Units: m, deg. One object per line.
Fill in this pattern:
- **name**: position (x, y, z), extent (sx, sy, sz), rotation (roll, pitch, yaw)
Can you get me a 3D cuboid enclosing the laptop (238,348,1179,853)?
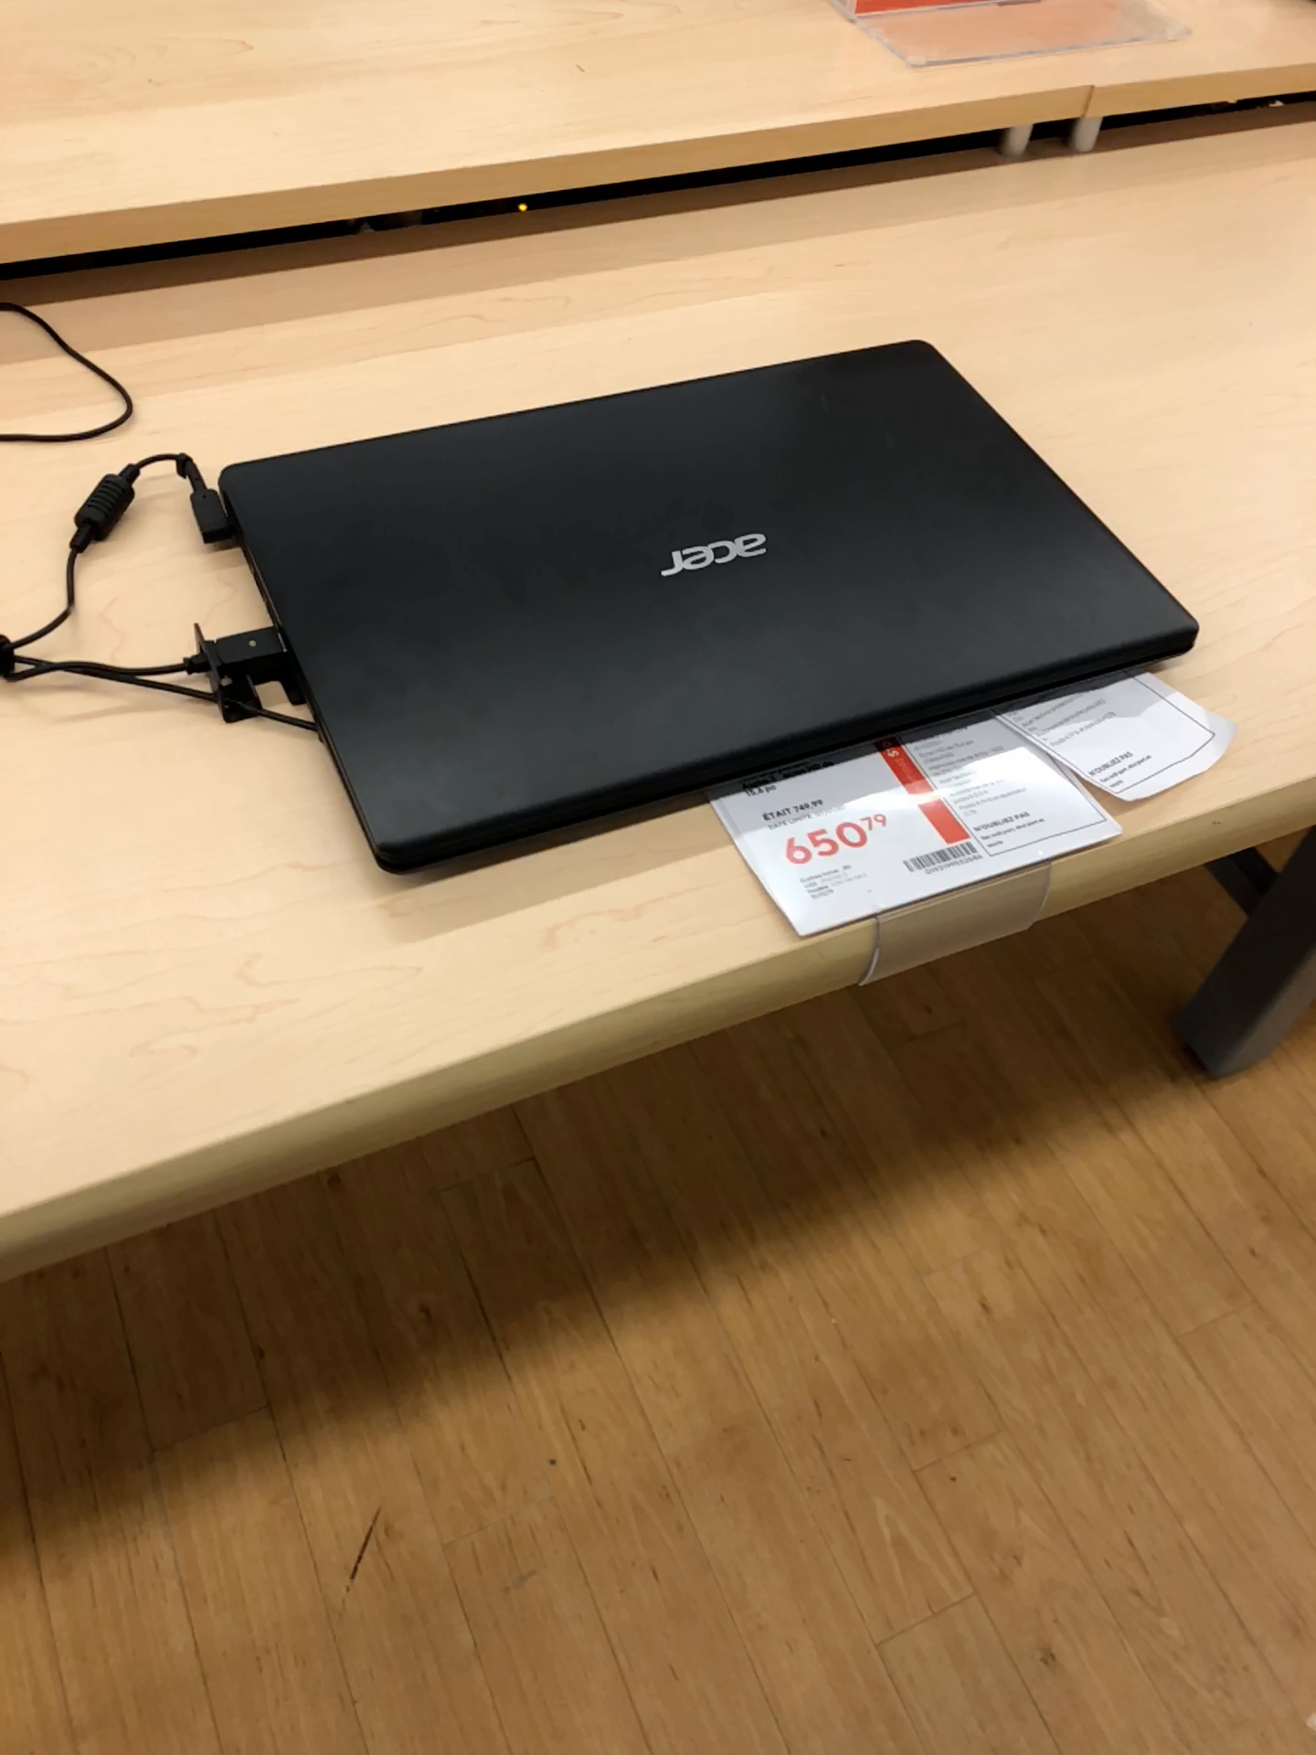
- **laptop**: position (0.023, -0.137, 0.609), extent (0.347, 0.003, 0.212), rotation (-17, 56, -20)
